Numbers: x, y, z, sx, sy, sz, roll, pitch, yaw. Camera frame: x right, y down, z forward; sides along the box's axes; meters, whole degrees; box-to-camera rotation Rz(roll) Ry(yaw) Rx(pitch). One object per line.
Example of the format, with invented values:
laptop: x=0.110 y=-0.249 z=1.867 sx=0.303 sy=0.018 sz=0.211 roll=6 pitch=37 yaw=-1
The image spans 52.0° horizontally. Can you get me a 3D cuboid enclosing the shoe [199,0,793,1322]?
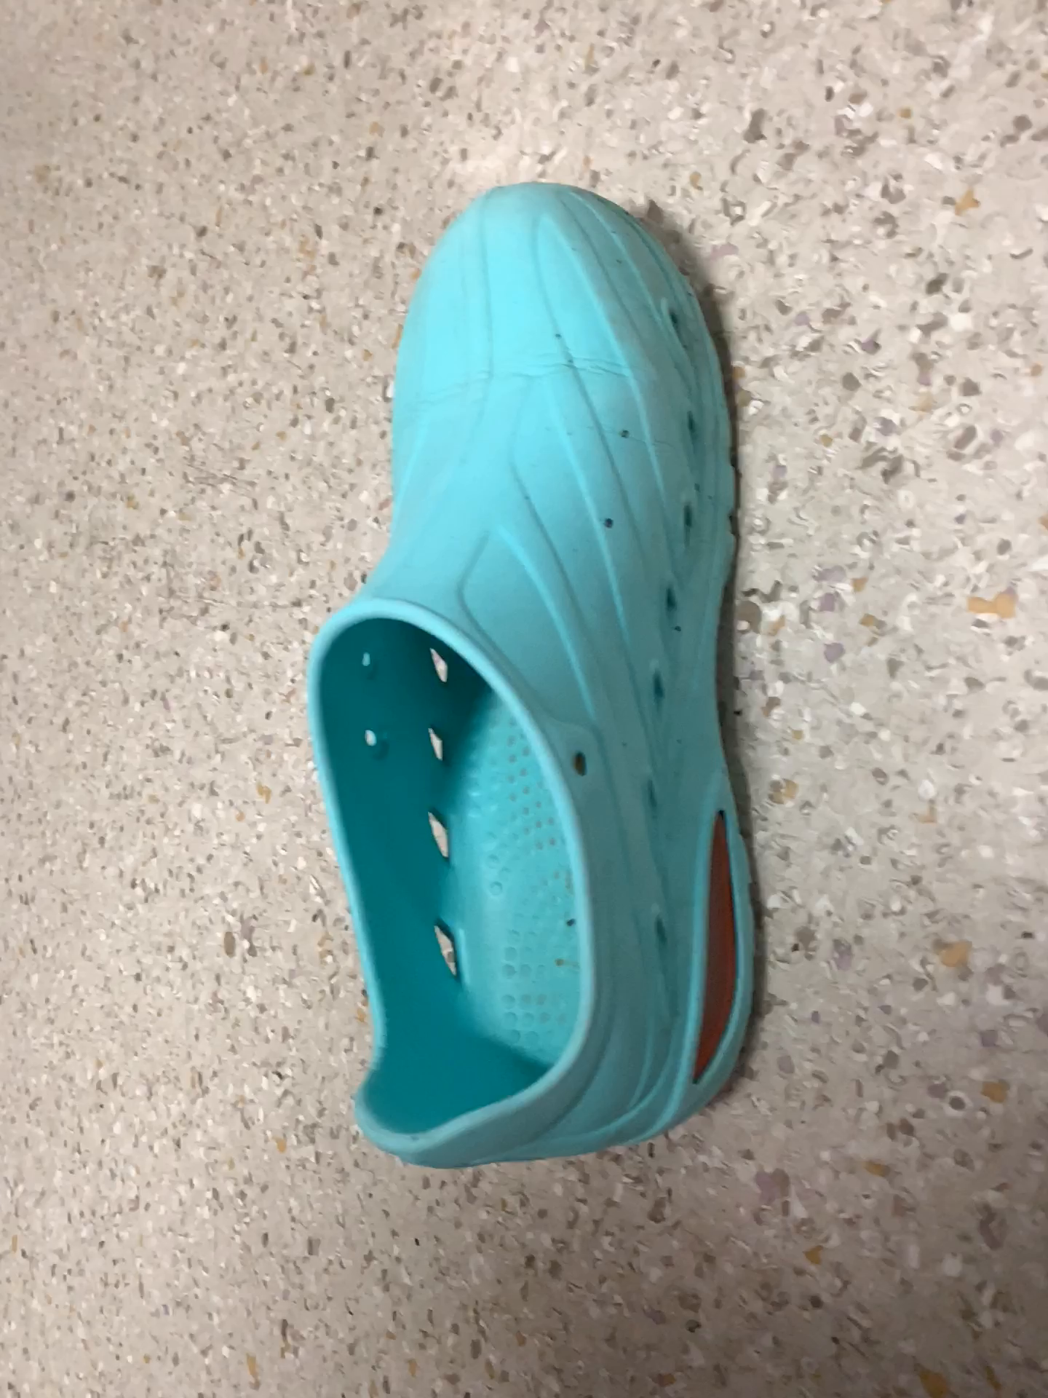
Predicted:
shoe: x=-0.010 y=-0.015 z=0.286 sx=0.106 sy=0.105 sz=0.275 roll=-7 pitch=83 yaw=42
